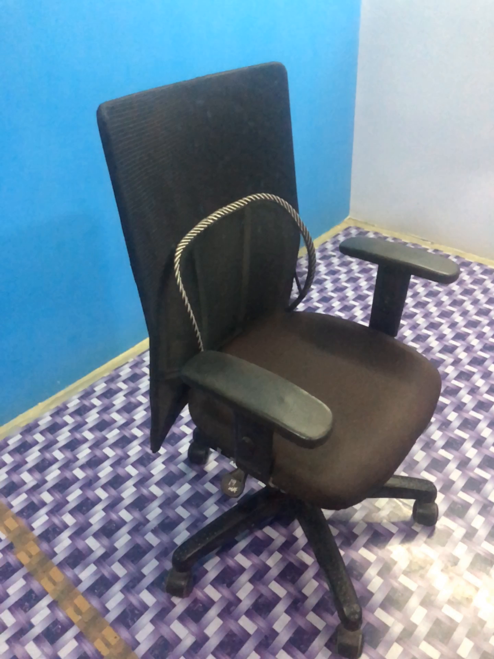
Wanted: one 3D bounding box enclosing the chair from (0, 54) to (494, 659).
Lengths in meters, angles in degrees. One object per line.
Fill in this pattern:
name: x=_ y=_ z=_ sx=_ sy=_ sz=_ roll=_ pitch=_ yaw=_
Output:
chair: x=0.073 y=0.036 z=1.023 sx=0.670 sy=0.885 sz=0.663 roll=19 pitch=40 yaw=29
